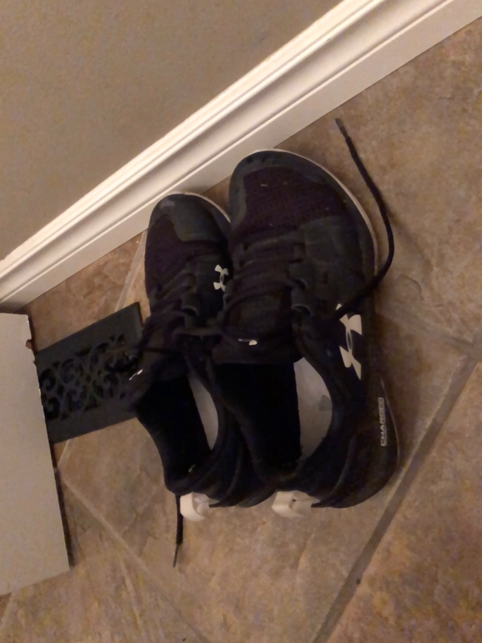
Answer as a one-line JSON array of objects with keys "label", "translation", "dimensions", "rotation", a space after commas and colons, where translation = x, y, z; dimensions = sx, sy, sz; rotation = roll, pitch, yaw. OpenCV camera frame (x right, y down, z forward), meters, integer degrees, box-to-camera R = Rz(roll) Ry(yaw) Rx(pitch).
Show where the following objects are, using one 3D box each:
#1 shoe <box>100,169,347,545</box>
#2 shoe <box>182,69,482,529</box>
[{"label": "shoe", "translation": [-0.019, 0.029, 0.421], "dimensions": [0.110, 0.099, 0.250], "rotation": [-22, 74, 34]}, {"label": "shoe", "translation": [0.058, -0.010, 0.351], "dimensions": [0.110, 0.099, 0.250], "rotation": [-22, 74, 34]}]
